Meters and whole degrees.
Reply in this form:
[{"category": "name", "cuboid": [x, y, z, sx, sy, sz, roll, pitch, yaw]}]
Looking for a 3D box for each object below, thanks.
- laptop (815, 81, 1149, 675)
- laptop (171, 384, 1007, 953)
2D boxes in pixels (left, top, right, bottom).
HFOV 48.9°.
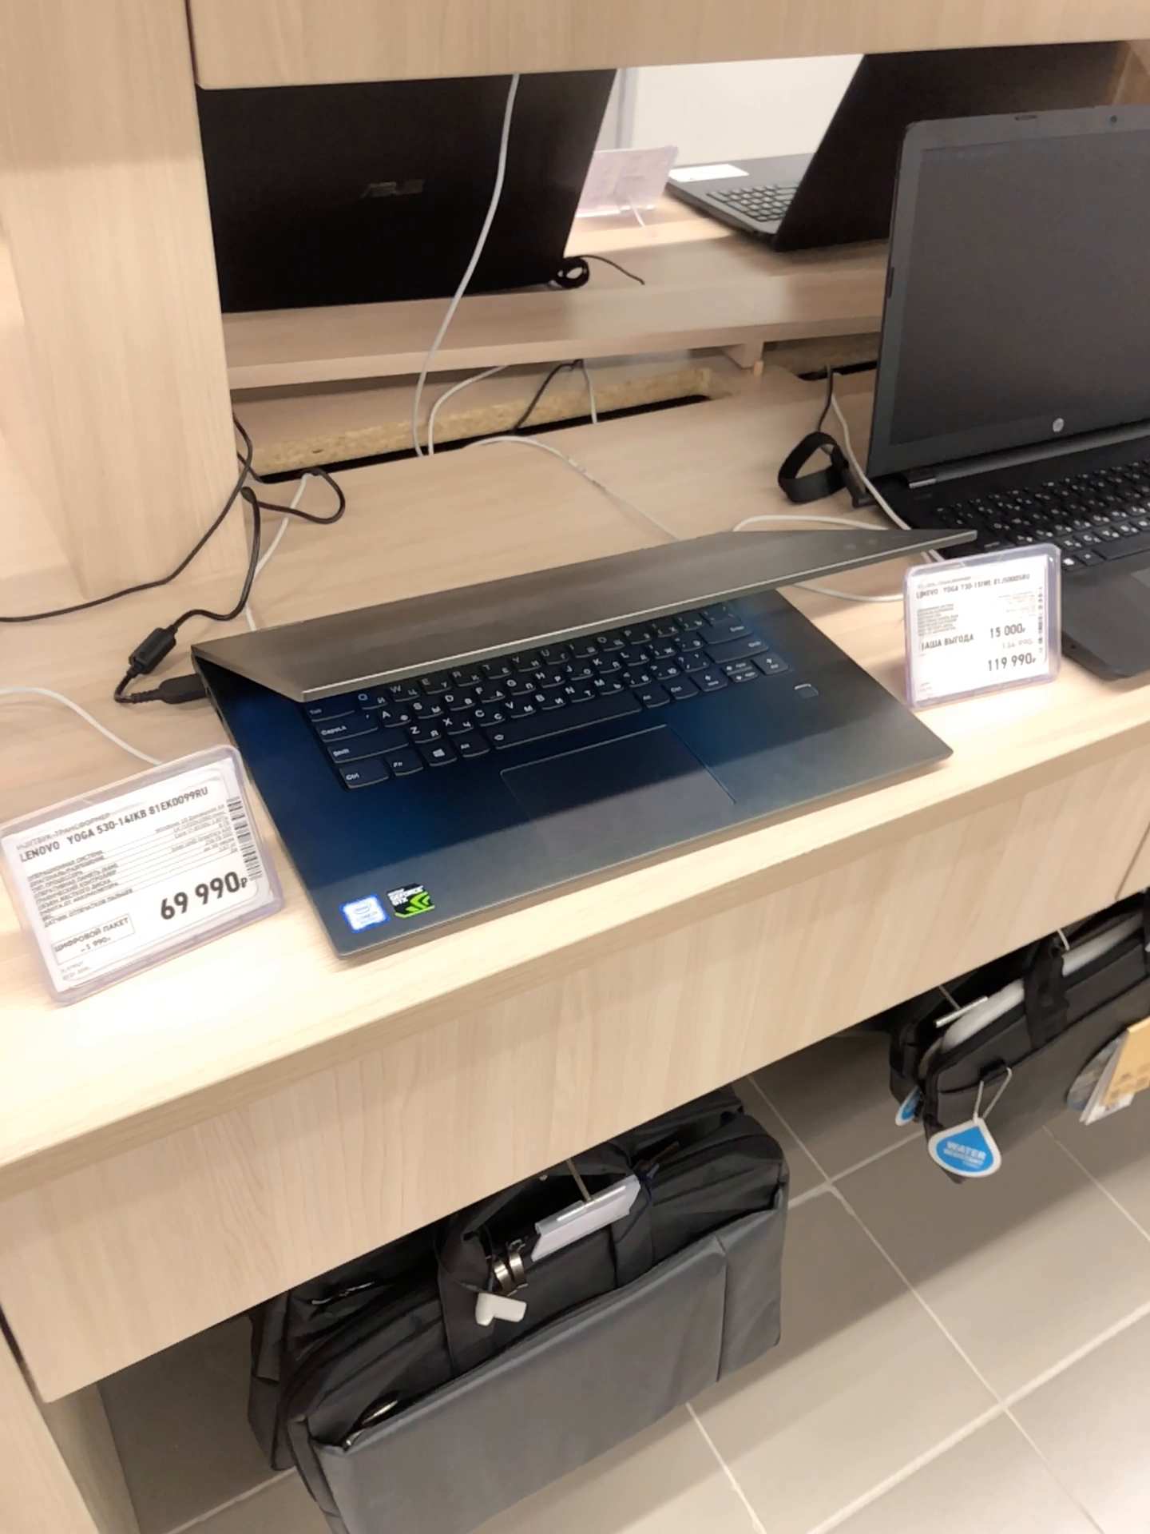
[{"category": "laptop", "cuboid": [0.450, -0.299, 0.899, 0.402, 0.240, 0.305, -18, 47, -25]}, {"category": "laptop", "cuboid": [0.002, -0.080, 0.692, 0.363, 0.118, 0.243, -16, 45, -24]}]
